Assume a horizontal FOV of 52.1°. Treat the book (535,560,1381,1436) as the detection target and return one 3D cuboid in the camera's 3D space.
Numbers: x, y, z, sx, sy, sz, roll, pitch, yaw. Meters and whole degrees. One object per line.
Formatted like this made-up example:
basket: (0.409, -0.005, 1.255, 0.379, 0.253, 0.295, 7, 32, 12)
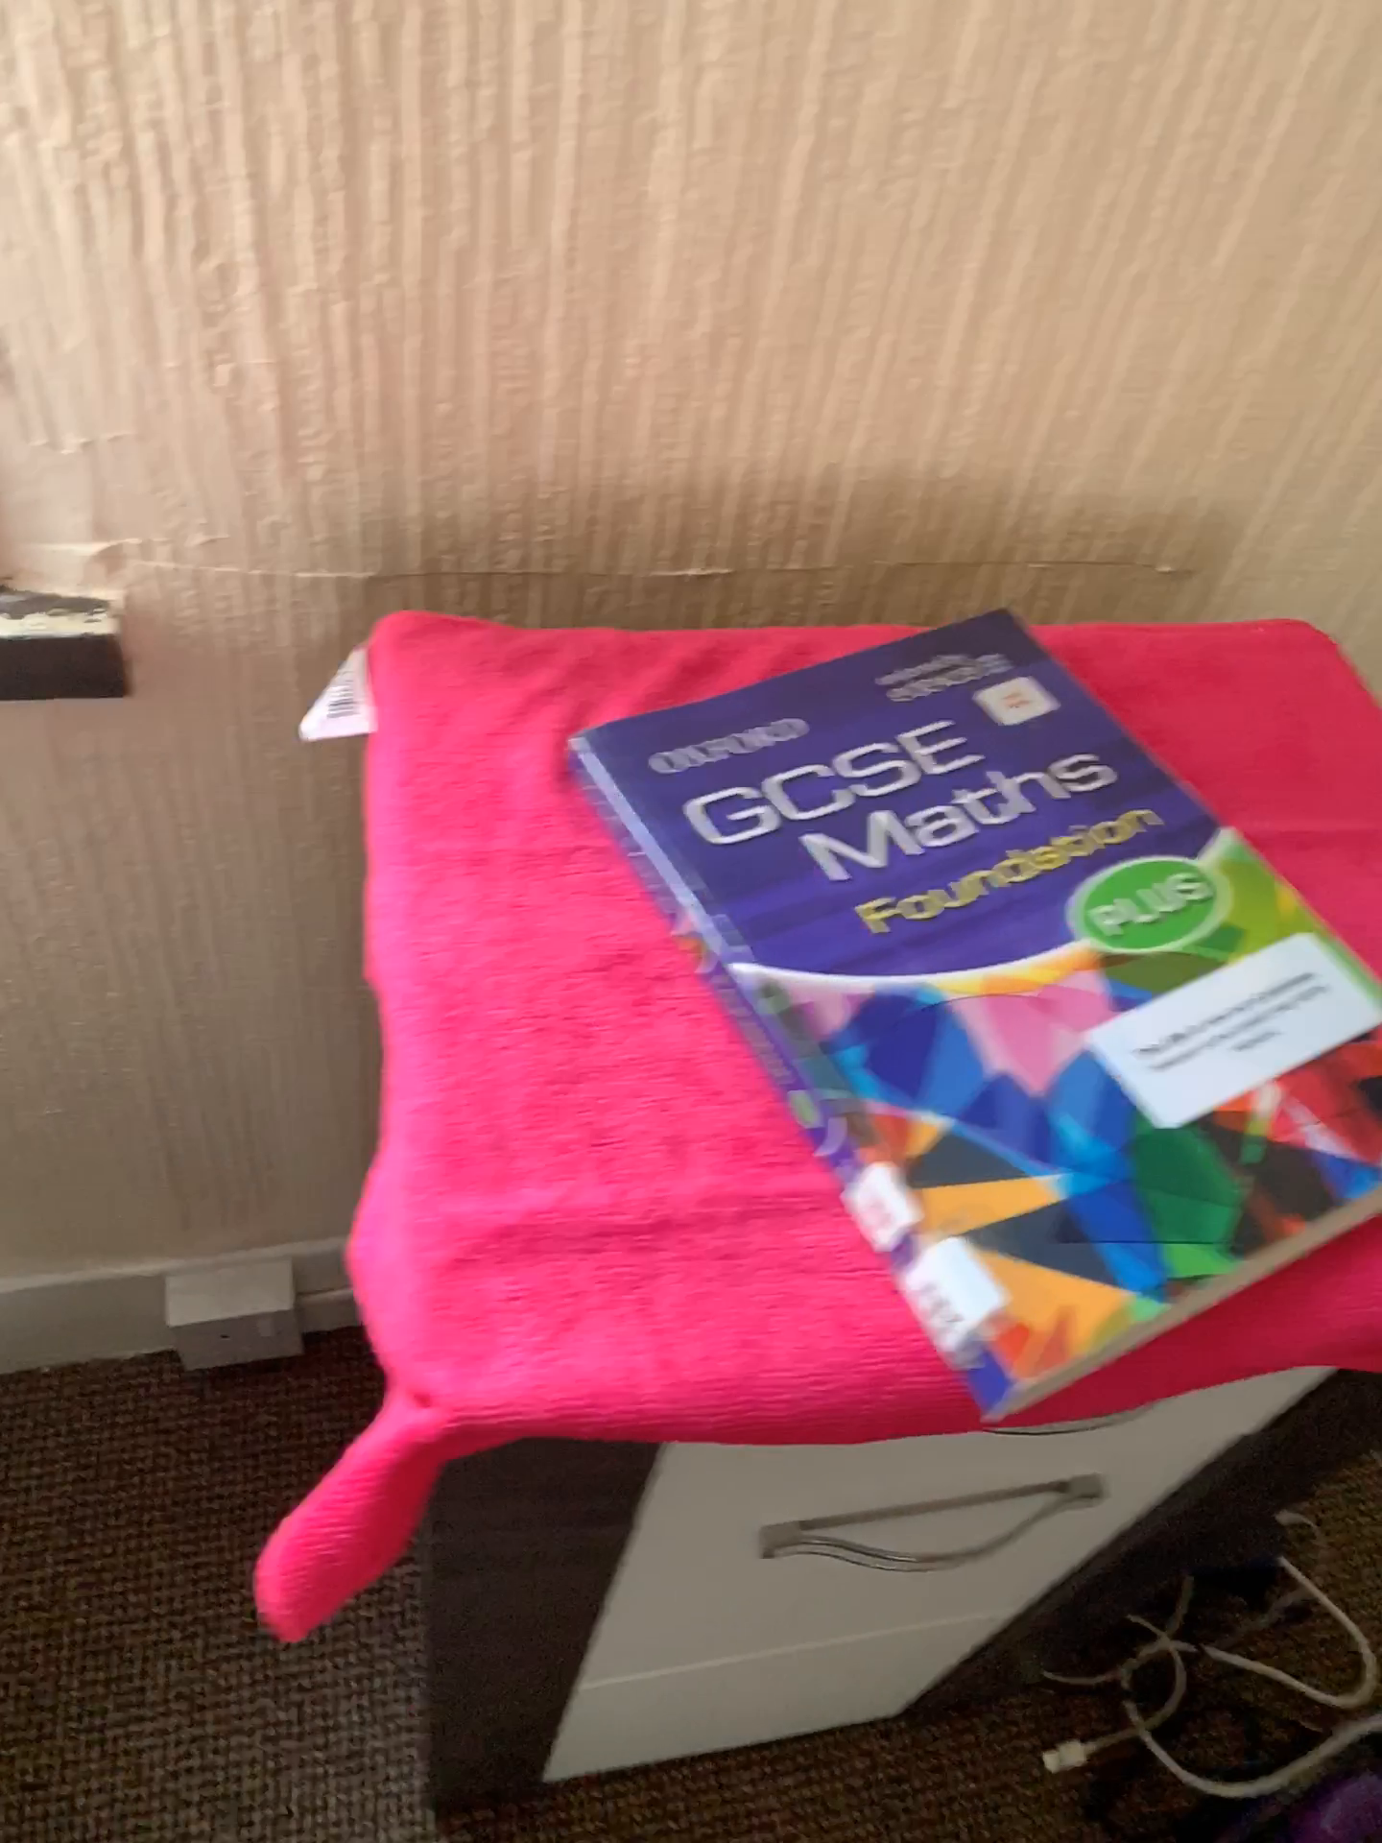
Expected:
book: (0.104, -0.007, 0.473, 0.211, 0.030, 0.282, -18, 56, -25)
